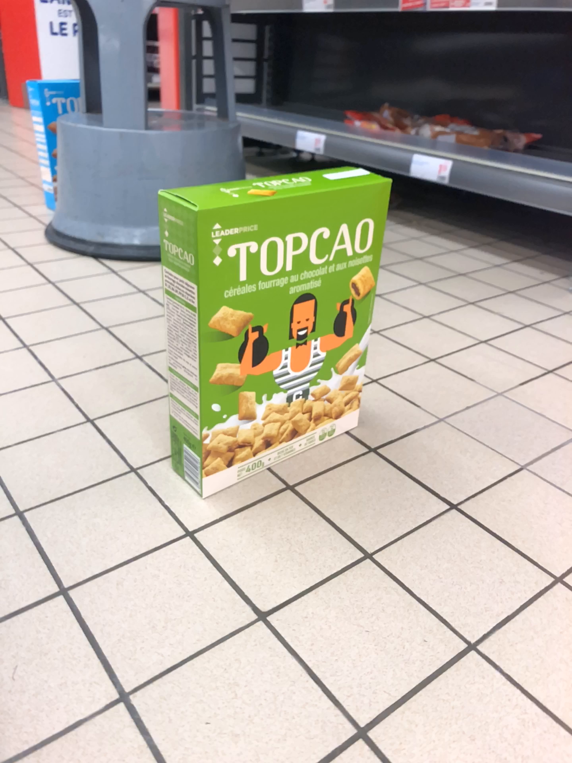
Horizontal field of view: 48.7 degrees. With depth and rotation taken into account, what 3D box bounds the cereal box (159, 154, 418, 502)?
[{"bbox_3d":[0.002,-0.048,0.535,0.201,0.248,0.060,-20,39,-34],"label":"cereal box"}]
